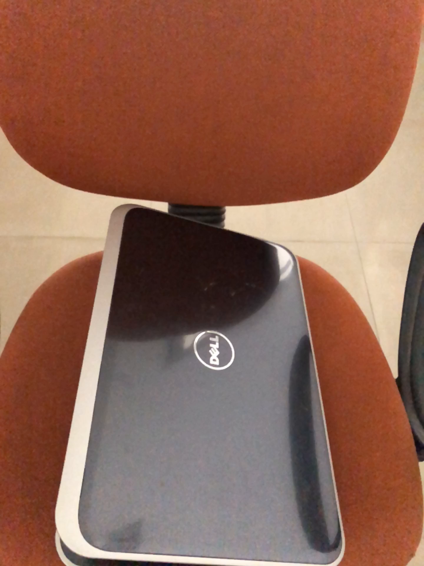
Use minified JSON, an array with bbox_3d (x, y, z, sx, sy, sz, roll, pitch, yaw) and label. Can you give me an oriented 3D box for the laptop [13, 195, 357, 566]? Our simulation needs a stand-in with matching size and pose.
[{"bbox_3d":[-0.017,0.071,0.472,0.233,0.090,0.368,2,51,-3],"label":"laptop"}]
